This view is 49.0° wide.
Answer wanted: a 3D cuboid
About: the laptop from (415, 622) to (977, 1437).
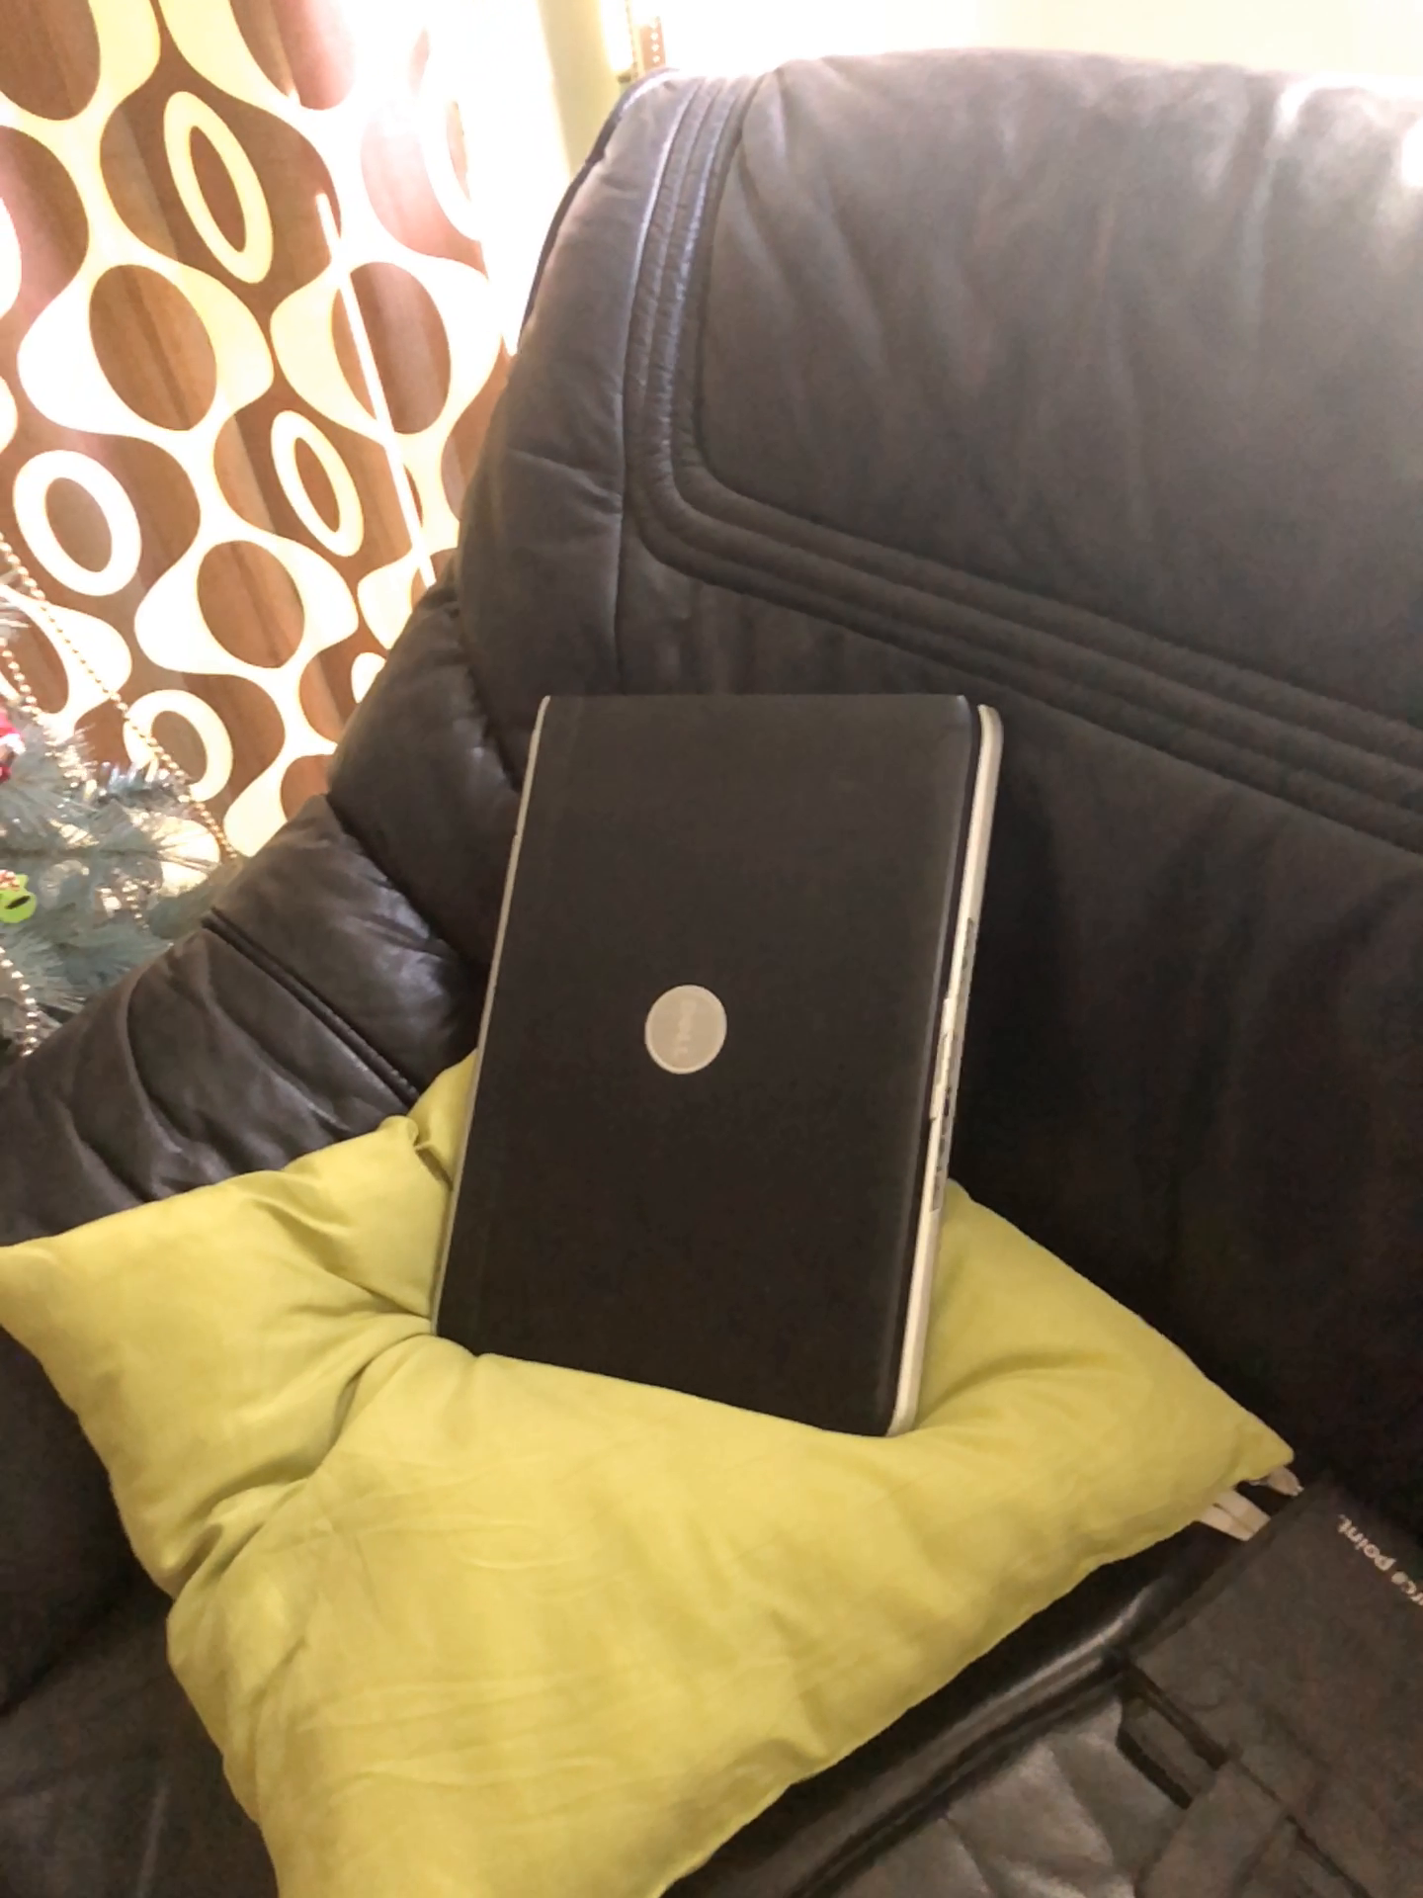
[{"bbox_3d":[-0.011,0.024,0.763,0.247,0.033,0.345,4,80,28],"label":"laptop"}]
